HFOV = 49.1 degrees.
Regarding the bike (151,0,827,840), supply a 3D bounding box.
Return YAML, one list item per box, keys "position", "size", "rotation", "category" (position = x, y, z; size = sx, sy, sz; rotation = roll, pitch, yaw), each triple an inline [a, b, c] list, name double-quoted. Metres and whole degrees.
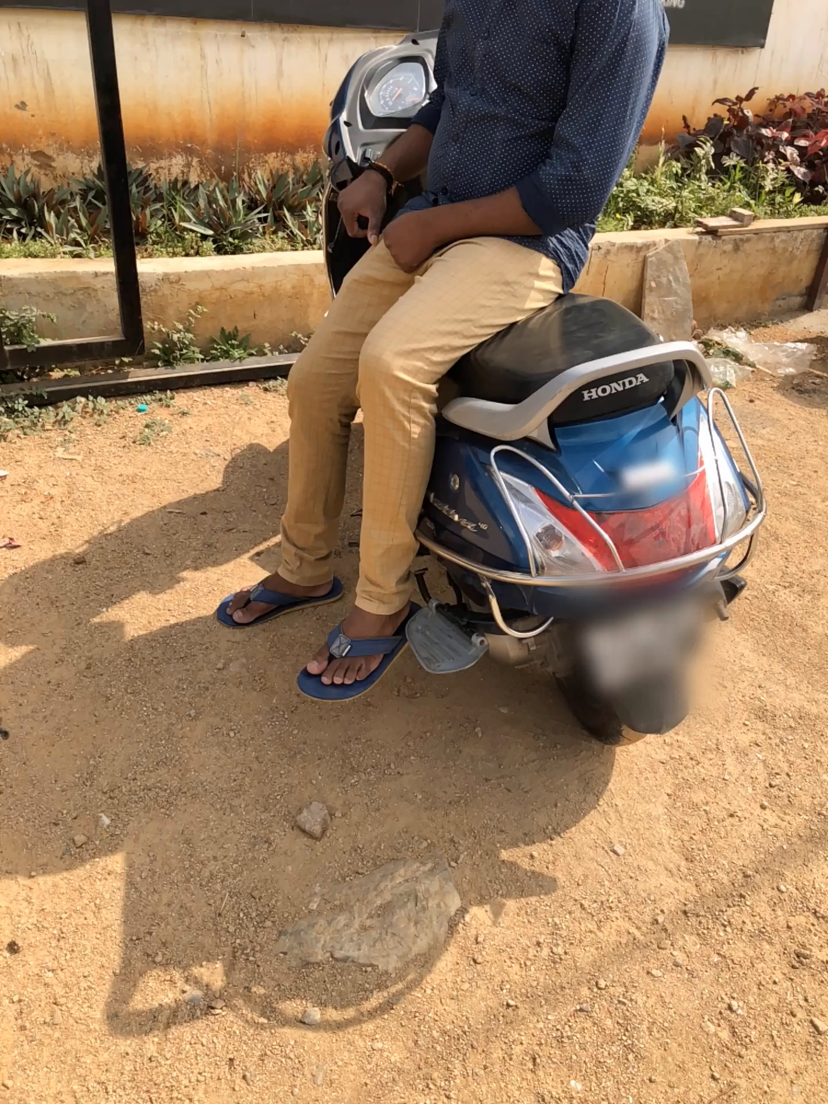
- position: [-0.042, -0.470, 1.855]
  size: [0.623, 1.115, 1.554]
  rotation: [-9, 35, -20]
  category: "bike"
